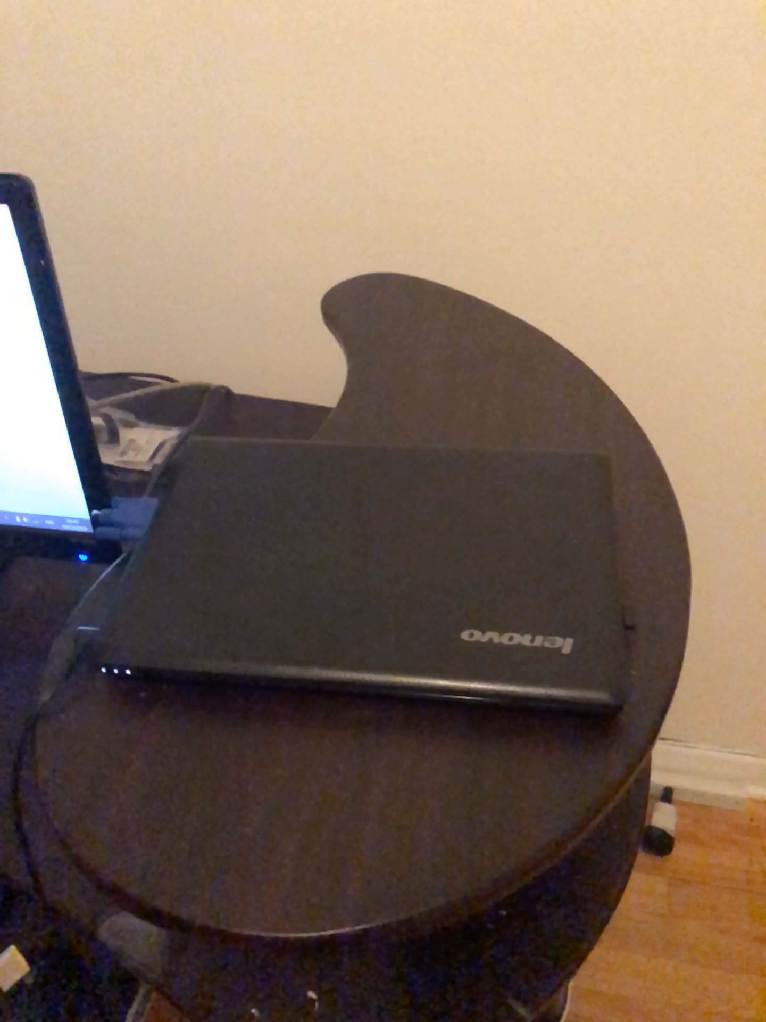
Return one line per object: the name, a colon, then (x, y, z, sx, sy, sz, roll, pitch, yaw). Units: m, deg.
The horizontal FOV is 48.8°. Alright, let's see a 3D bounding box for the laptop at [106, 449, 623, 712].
laptop: (-0.004, 0.026, 0.477, 0.259, 0.008, 0.173, 2, 44, 11)
